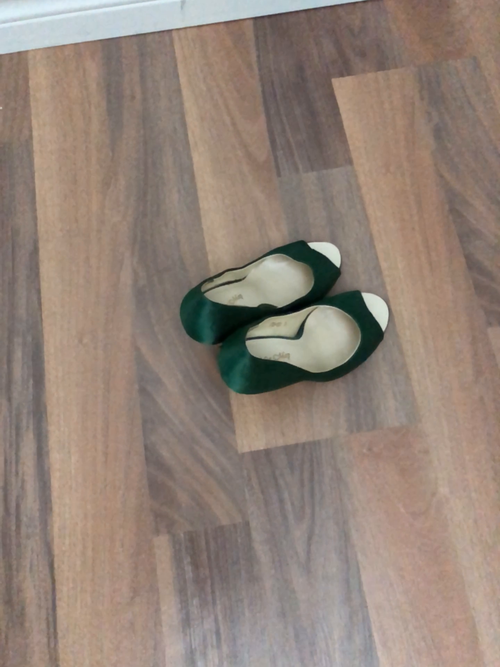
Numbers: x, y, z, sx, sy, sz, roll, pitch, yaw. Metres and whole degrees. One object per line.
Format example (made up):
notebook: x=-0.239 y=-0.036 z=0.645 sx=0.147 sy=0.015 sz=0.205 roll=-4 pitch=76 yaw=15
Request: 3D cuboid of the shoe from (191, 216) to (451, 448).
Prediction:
shoe: x=0.063 y=0.005 z=0.536 sx=0.210 sy=0.130 sz=0.090 roll=-33 pitch=74 yaw=-9

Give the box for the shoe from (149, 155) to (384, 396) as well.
shoe: x=0.019 y=-0.053 z=0.566 sx=0.210 sy=0.130 sz=0.090 roll=-42 pitch=76 yaw=-11
